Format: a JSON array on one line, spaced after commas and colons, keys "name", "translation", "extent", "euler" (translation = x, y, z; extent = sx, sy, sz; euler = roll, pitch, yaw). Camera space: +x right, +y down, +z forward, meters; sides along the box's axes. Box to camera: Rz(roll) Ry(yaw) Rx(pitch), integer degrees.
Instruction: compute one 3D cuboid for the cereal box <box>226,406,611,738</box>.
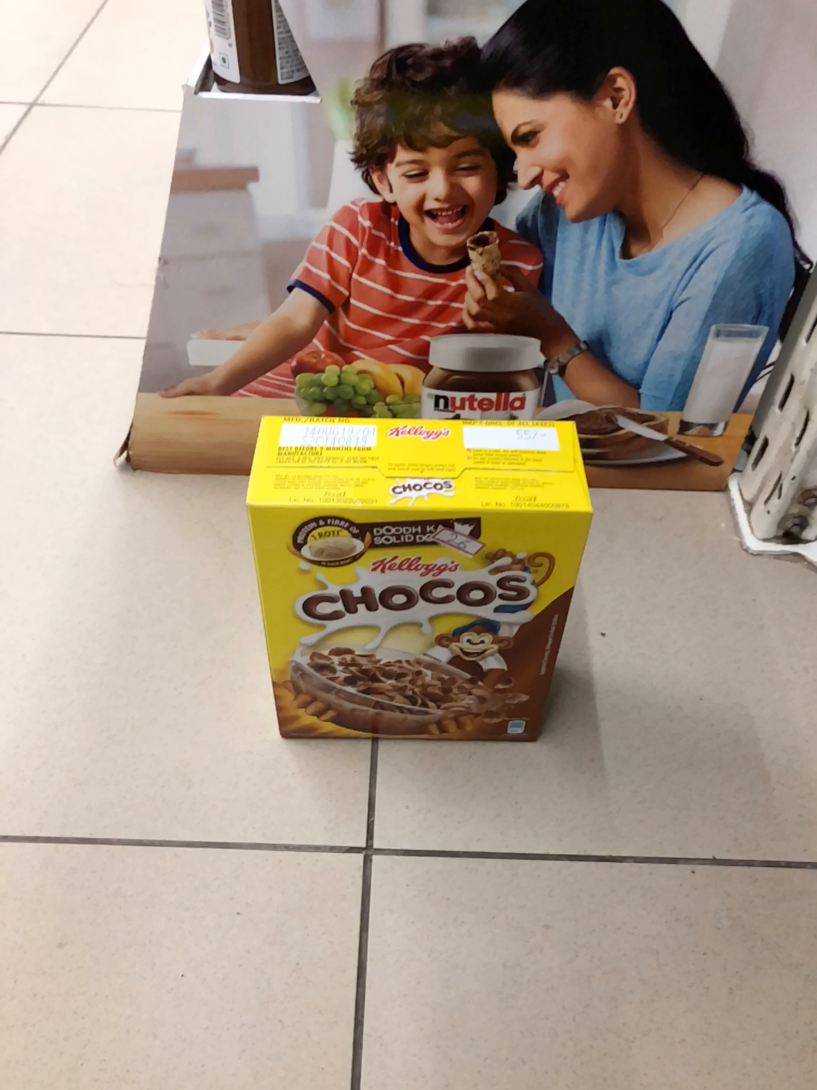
[{"name": "cereal box", "translation": [0.002, 0.021, 0.408], "extent": [0.140, 0.169, 0.050], "euler": [1, 49, -1]}]
